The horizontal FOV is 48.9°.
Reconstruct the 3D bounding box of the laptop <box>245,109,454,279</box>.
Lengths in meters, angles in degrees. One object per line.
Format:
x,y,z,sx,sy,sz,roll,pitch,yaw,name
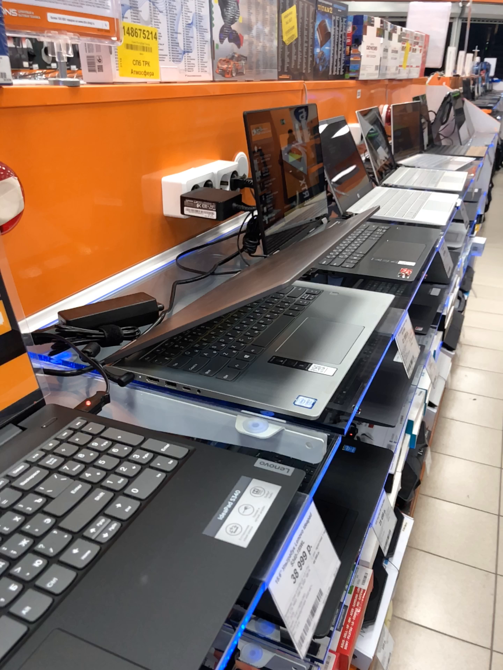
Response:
0.174,-0.255,0.919,0.246,0.210,0.329,10,26,19,laptop

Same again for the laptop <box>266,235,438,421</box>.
0.210,-0.034,1.106,0.235,0.228,0.330,12,27,20,laptop

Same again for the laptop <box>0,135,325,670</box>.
-0.149,0.039,0.255,0.276,0.219,0.330,10,26,20,laptop

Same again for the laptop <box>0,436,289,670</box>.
-0.143,0.293,0.389,0.243,0.222,0.334,14,27,20,laptop

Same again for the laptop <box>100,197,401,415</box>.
0.023,-0.061,0.612,0.210,0.110,0.315,12,26,21,laptop

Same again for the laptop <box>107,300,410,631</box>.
0.036,0.135,0.760,0.259,0.223,0.363,12,27,22,laptop
